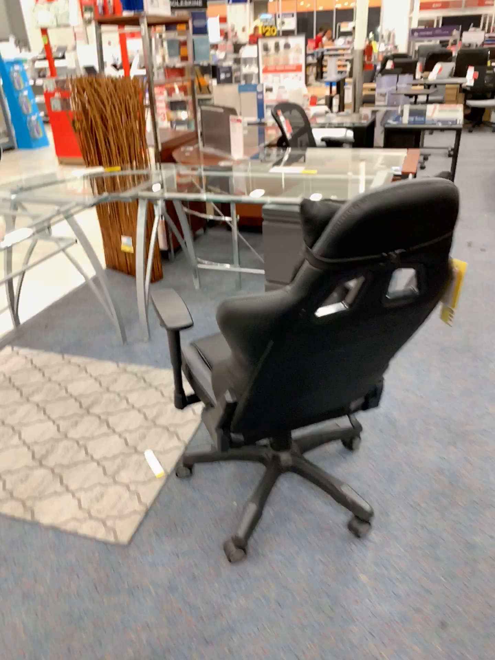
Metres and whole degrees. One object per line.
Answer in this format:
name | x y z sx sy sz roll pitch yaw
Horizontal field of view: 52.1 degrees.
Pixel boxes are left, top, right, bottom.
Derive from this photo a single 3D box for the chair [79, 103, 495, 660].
chair | 0.102 0.021 1.387 0.785 1.061 0.916 -13 31 -19
